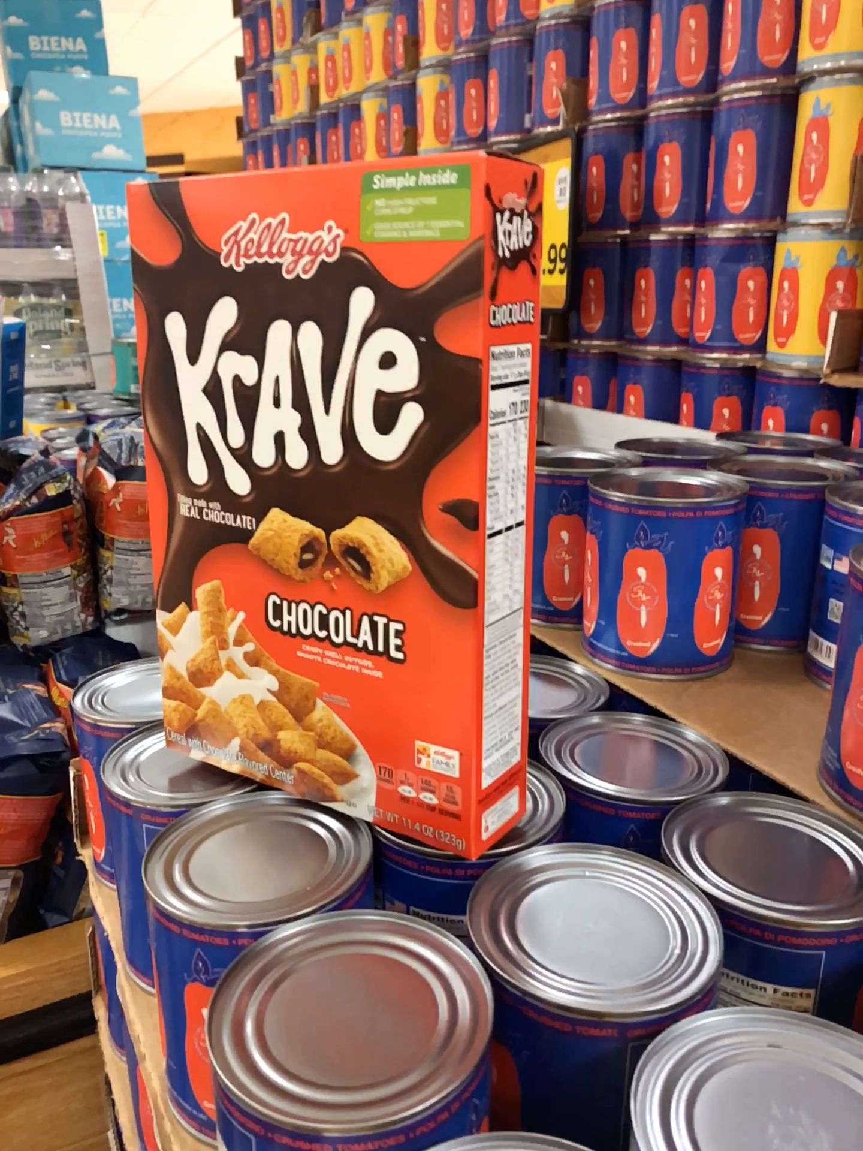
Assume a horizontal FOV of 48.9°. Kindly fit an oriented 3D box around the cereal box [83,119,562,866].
[{"bbox_3d":[-0.054,-0.040,0.440,0.210,0.289,0.060,10,19,31],"label":"cereal box"}]
